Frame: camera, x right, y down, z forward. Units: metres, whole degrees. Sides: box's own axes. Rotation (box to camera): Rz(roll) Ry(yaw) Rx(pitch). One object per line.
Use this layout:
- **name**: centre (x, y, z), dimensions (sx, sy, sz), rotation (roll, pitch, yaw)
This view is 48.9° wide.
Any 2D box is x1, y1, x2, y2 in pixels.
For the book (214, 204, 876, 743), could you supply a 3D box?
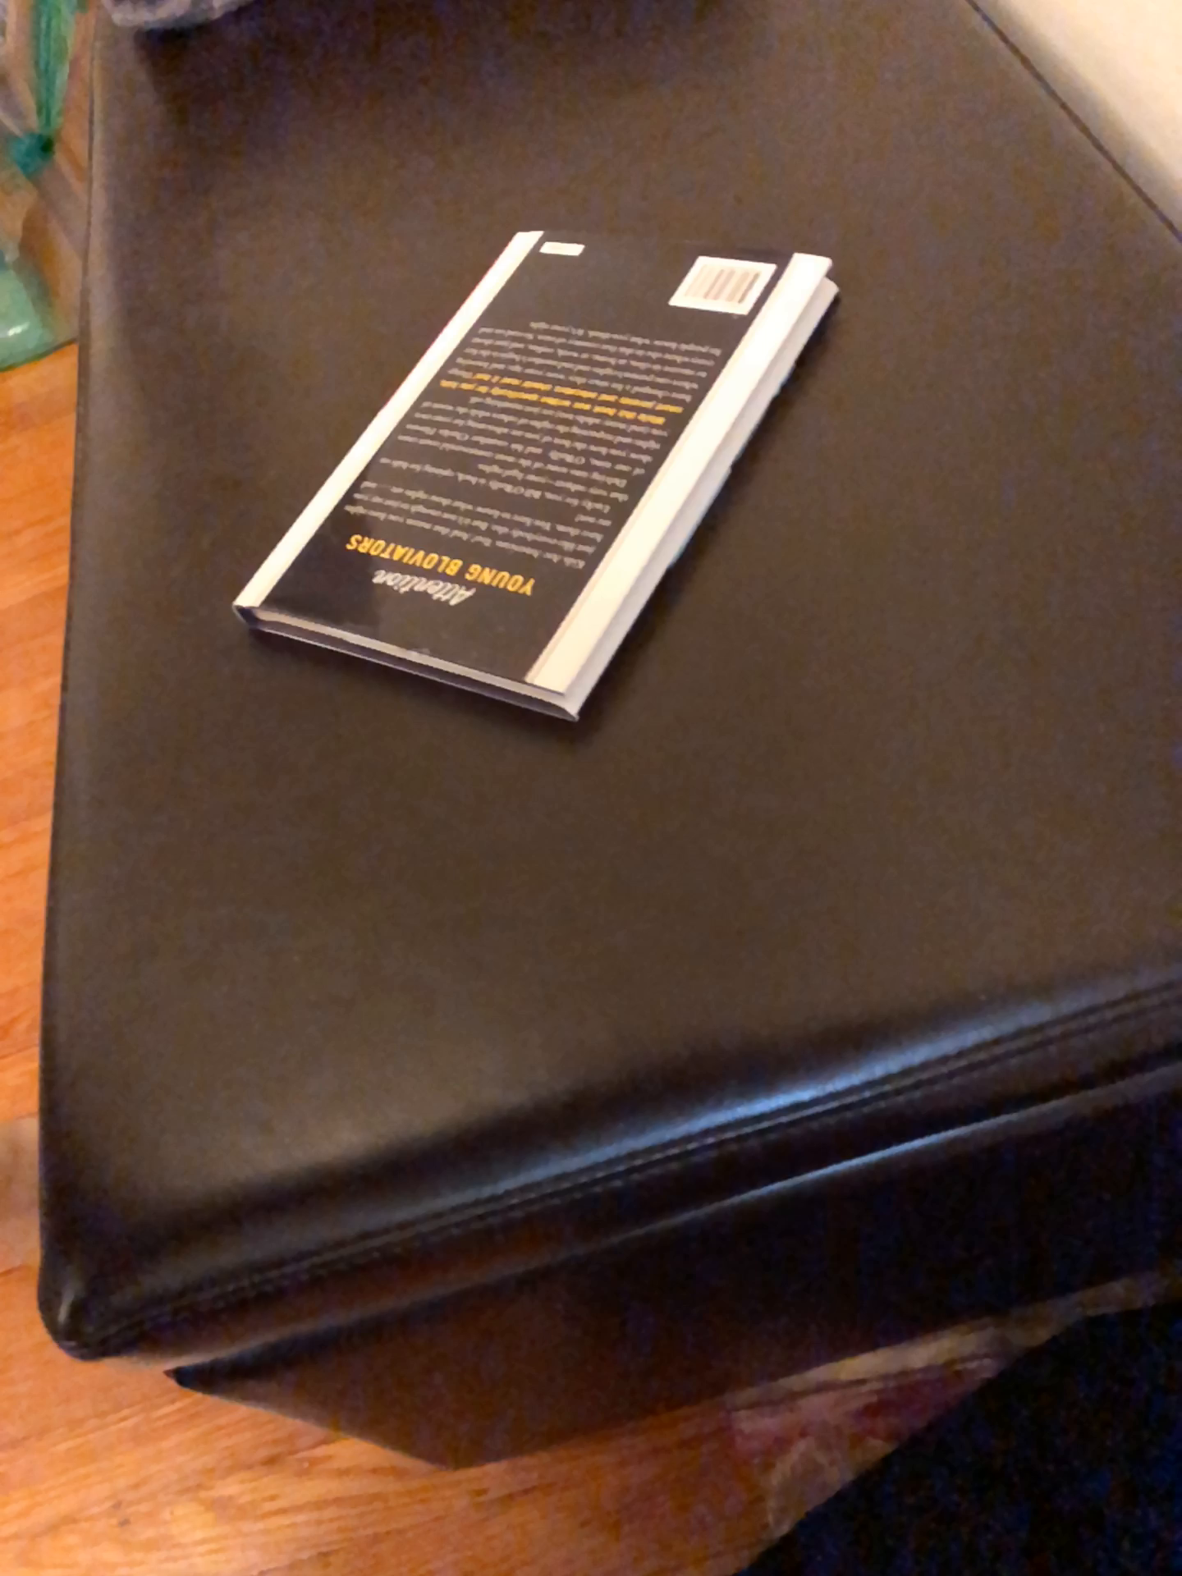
- **book**: centre (-0.013, -0.133, 0.487), dimensions (0.160, 0.020, 0.231), rotation (17, 64, 27)
